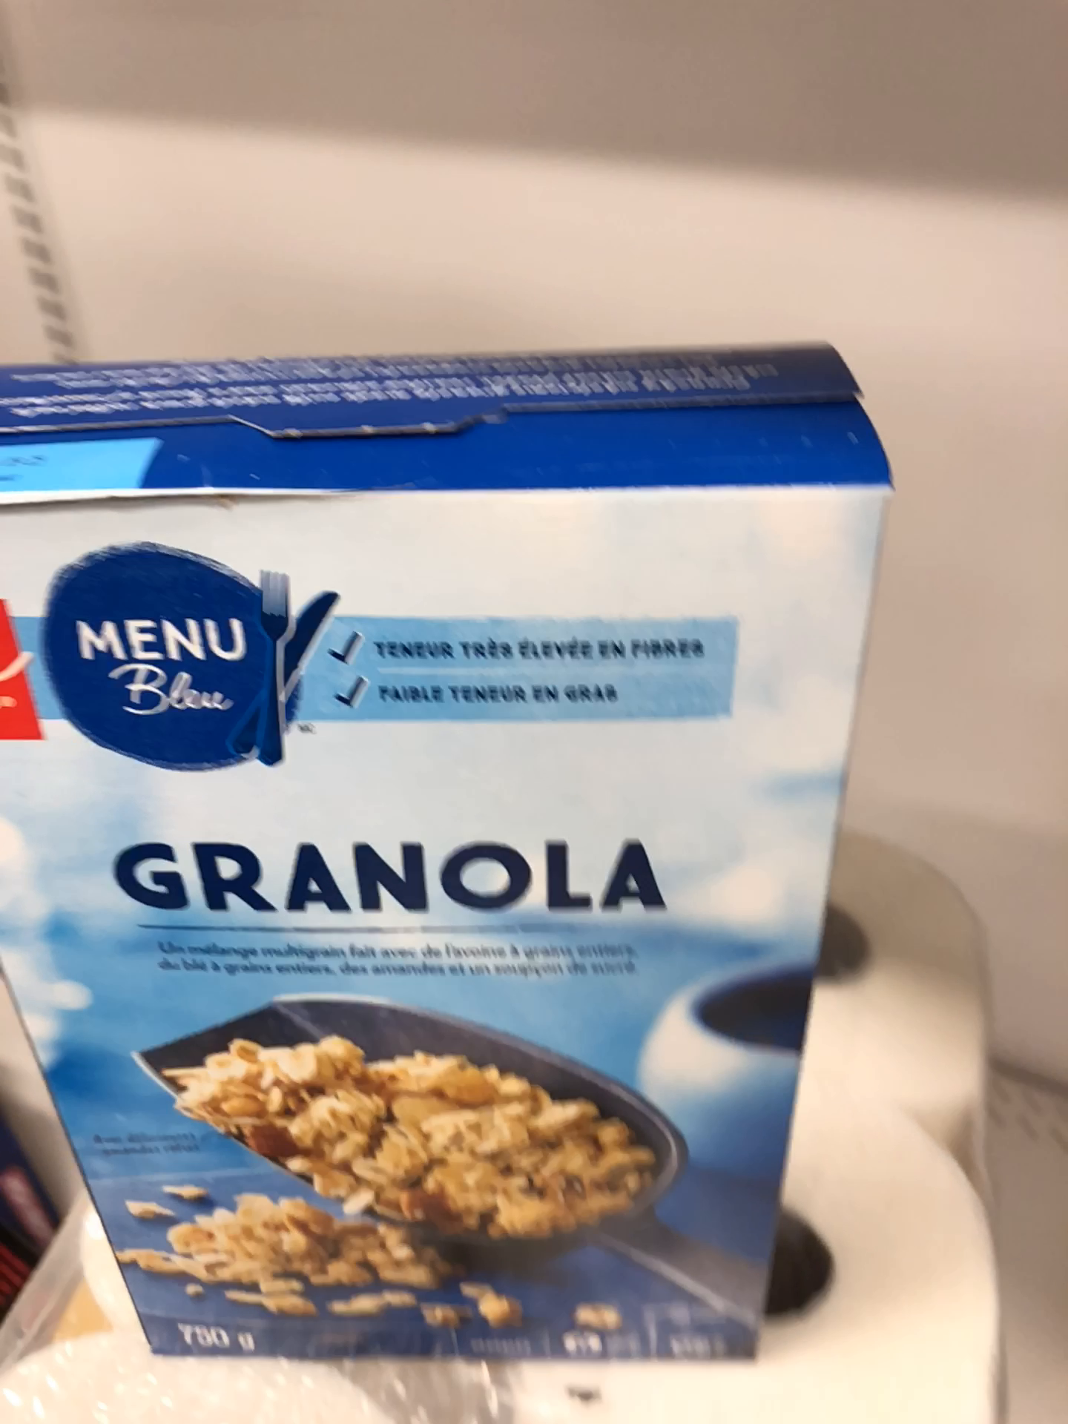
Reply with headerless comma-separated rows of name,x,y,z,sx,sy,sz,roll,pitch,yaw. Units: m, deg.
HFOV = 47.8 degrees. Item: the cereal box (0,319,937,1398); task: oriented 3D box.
cereal box,-0.021,0.049,0.253,0.160,0.239,0.060,0,34,4
